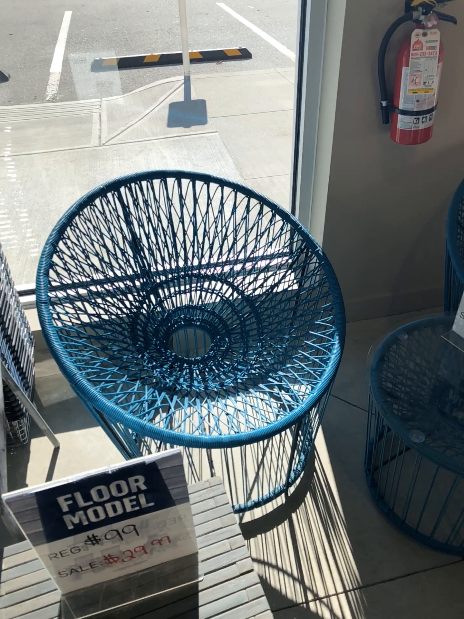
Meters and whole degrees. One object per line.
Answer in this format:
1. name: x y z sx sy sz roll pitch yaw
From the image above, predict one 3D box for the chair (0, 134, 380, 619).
1. chair: -0.133 0.165 1.449 0.663 0.993 0.722 30 48 34
